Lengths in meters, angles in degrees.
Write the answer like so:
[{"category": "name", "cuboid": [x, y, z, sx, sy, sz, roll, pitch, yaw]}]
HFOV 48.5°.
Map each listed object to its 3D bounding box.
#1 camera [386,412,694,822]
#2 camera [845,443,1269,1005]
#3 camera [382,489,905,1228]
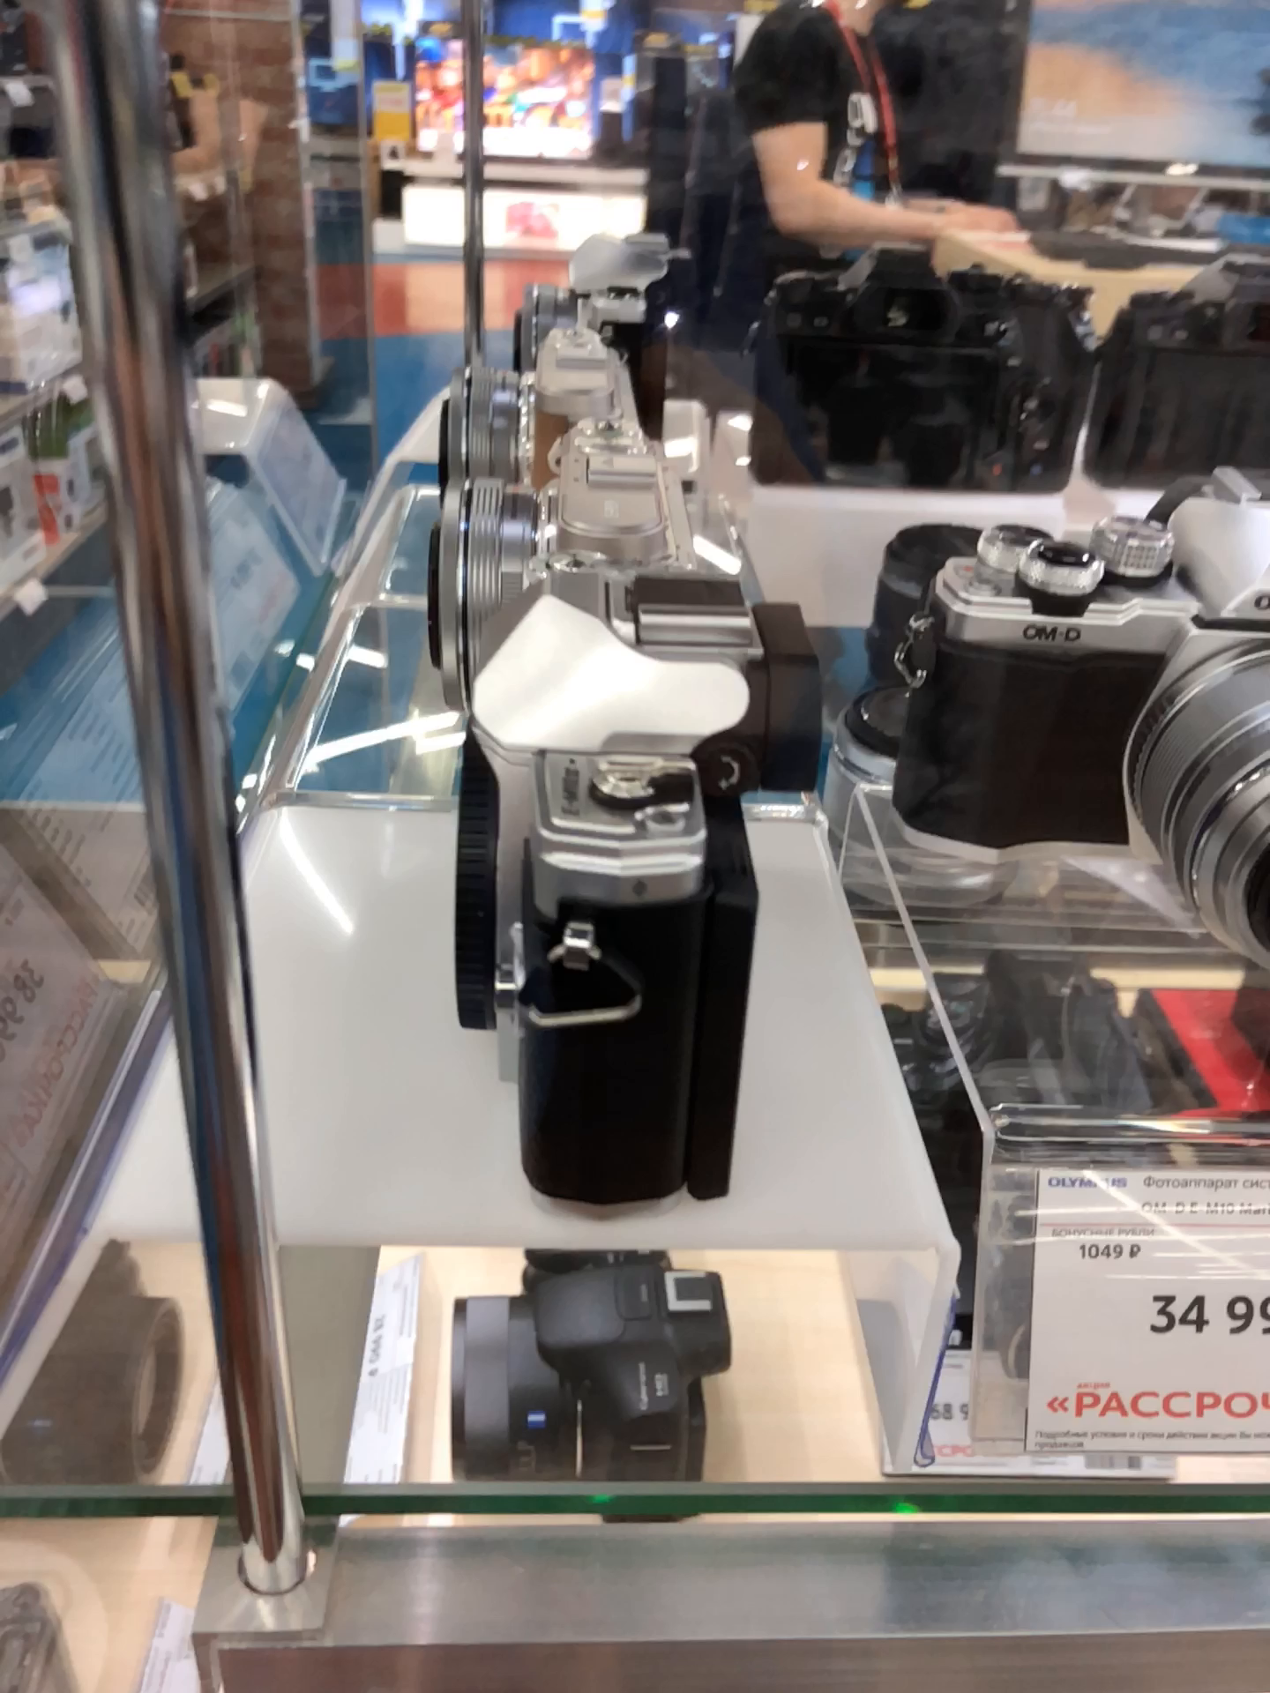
[{"category": "camera", "cuboid": [-0.023, -0.067, 0.380, 0.068, 0.068, 0.125, 2, 29, -2]}, {"category": "camera", "cuboid": [0.128, -0.031, 0.305, 0.136, 0.084, 0.102, 0, 29, -6]}, {"category": "camera", "cuboid": [-0.003, -0.007, 0.245, 0.064, 0.077, 0.122, 1, 29, -3]}]
